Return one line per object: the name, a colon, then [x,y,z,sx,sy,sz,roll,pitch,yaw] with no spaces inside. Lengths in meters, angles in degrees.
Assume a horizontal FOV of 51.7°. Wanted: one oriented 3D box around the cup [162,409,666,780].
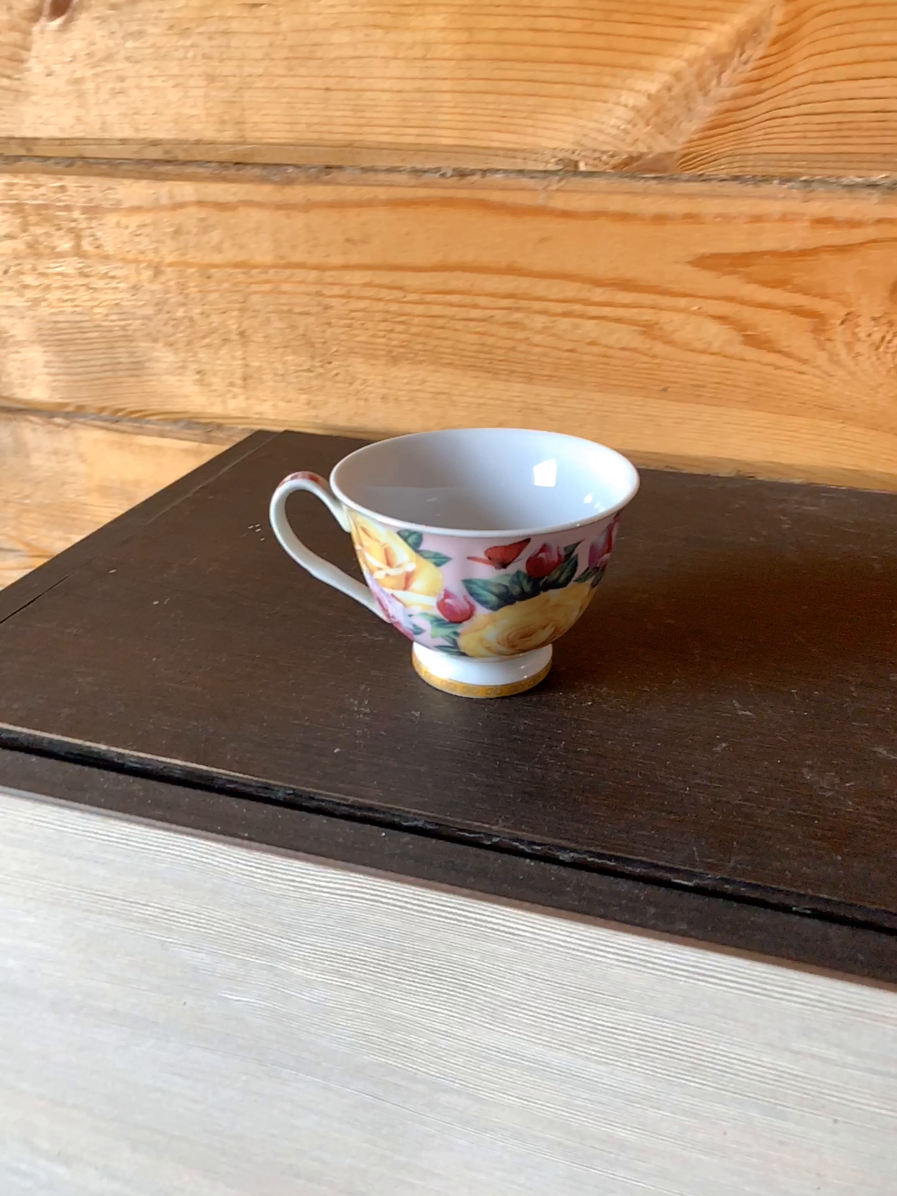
cup: [-0.002,-0.010,0.279,0.120,0.060,0.101,8,27,14]
